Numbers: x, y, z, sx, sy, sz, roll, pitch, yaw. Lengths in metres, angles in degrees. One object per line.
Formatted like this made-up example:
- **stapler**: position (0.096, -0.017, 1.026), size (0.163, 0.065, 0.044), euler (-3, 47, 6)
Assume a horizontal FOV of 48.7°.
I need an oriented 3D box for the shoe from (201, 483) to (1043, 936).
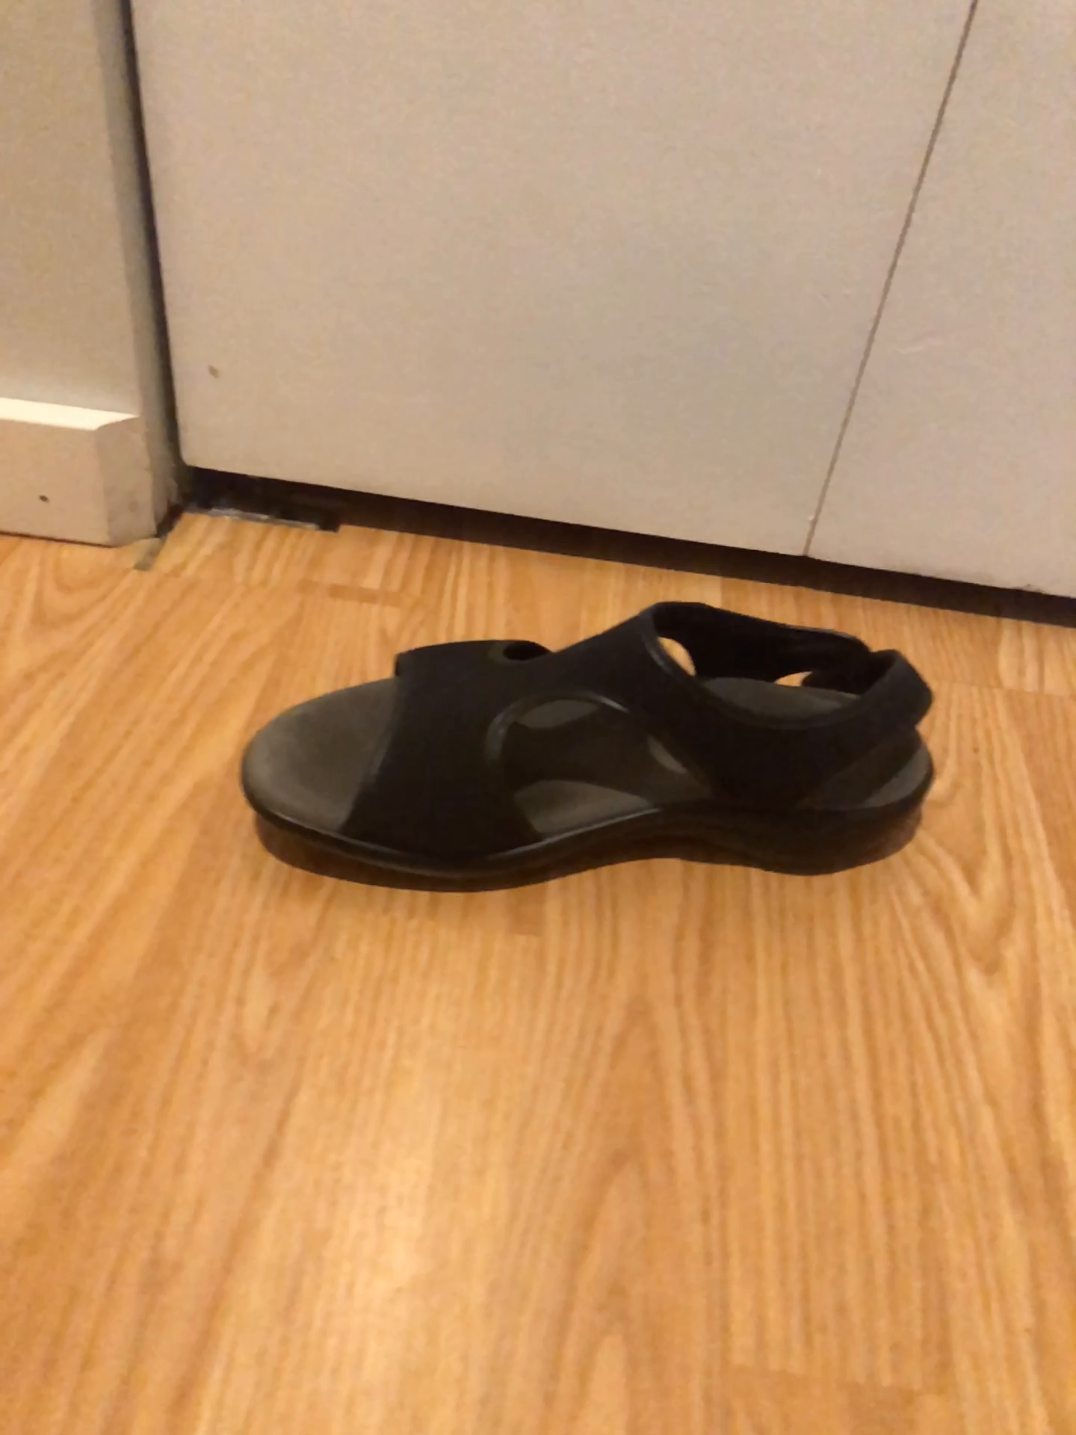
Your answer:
- **shoe**: position (0.022, -0.002, 0.419), size (0.250, 0.100, 0.100), euler (4, 41, -5)
